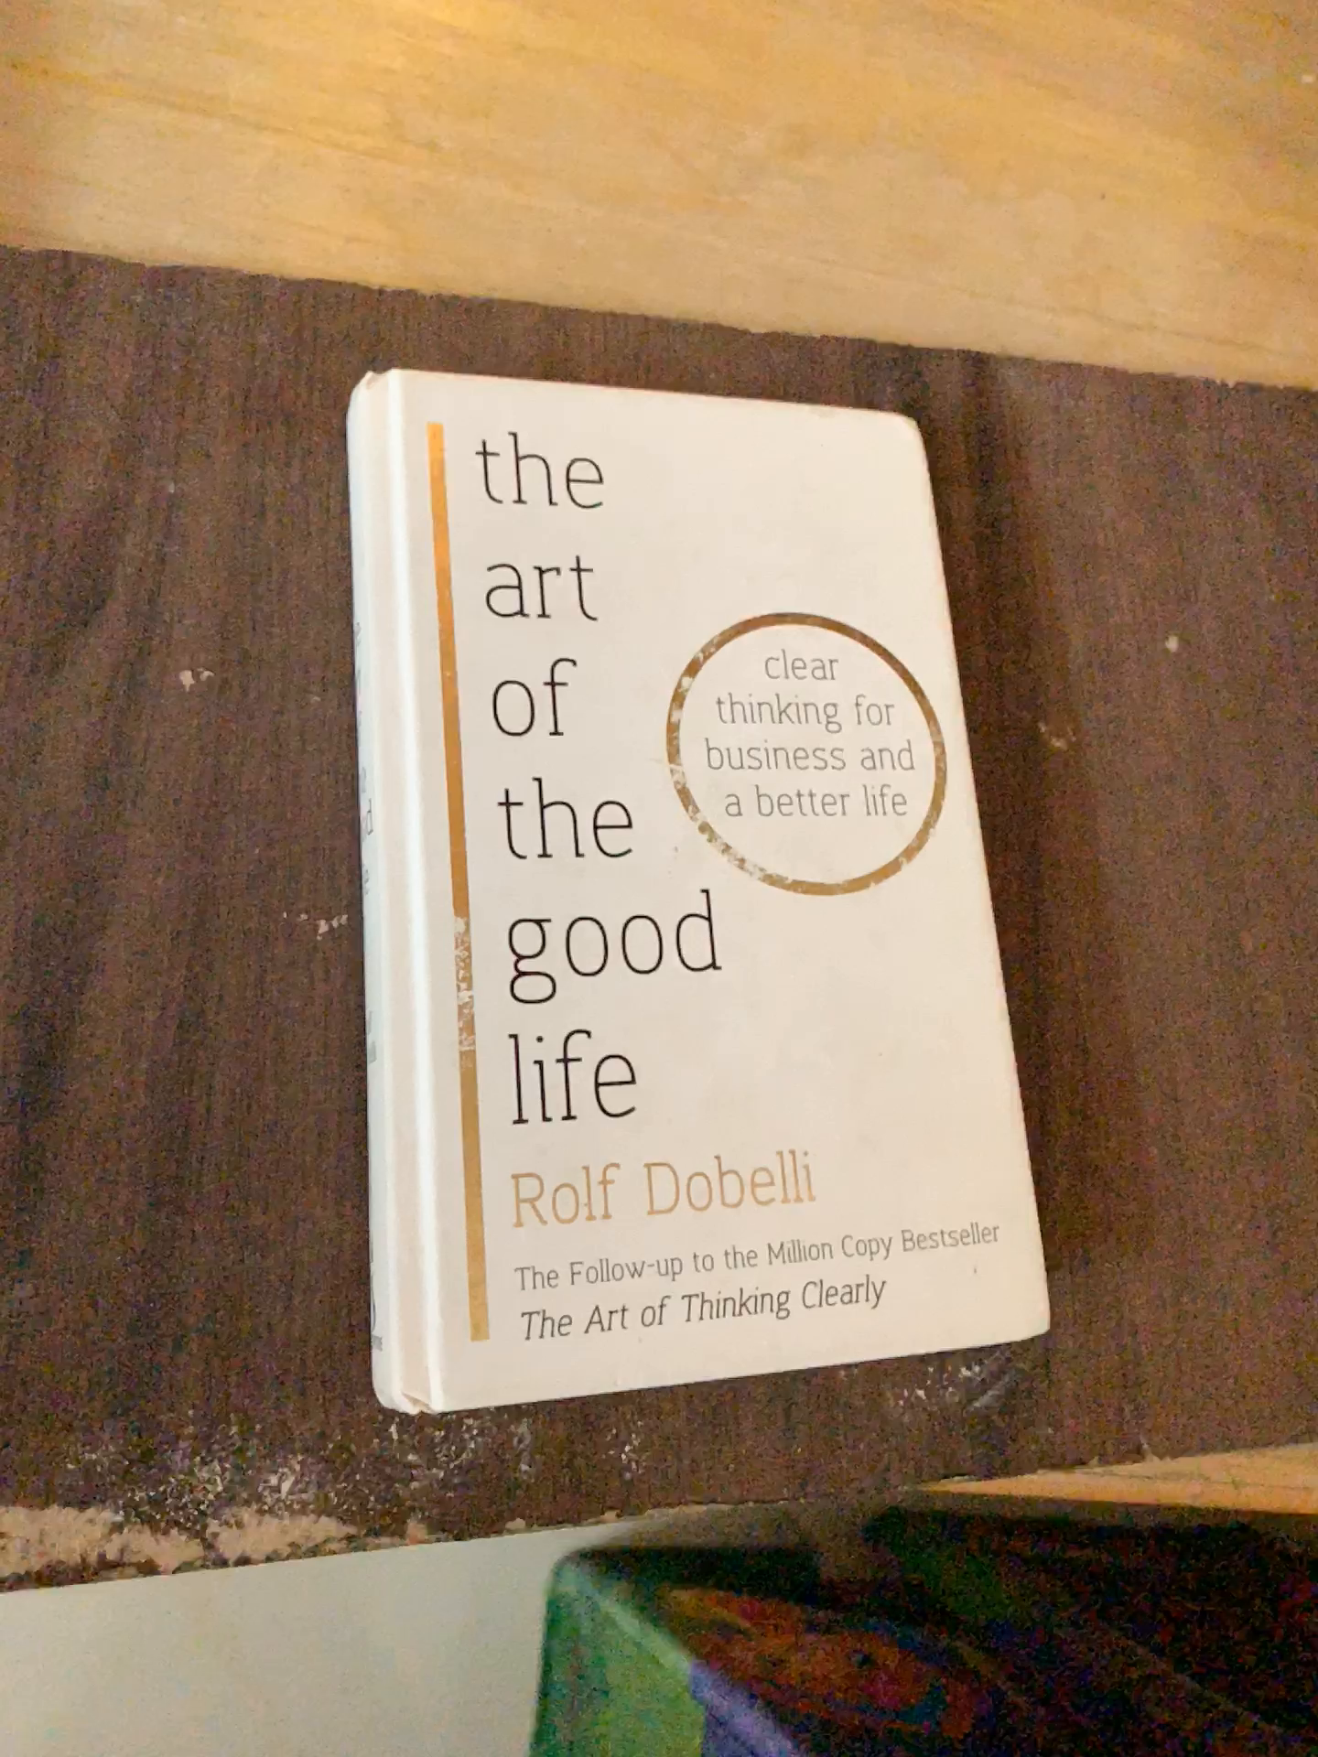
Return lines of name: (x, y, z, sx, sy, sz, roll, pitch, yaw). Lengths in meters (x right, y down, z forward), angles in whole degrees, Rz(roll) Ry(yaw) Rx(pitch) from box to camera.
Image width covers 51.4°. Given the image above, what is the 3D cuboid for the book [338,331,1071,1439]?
book: (0.003, -0.003, 0.251, 0.117, 0.037, 0.180, 0, 78, -15)
